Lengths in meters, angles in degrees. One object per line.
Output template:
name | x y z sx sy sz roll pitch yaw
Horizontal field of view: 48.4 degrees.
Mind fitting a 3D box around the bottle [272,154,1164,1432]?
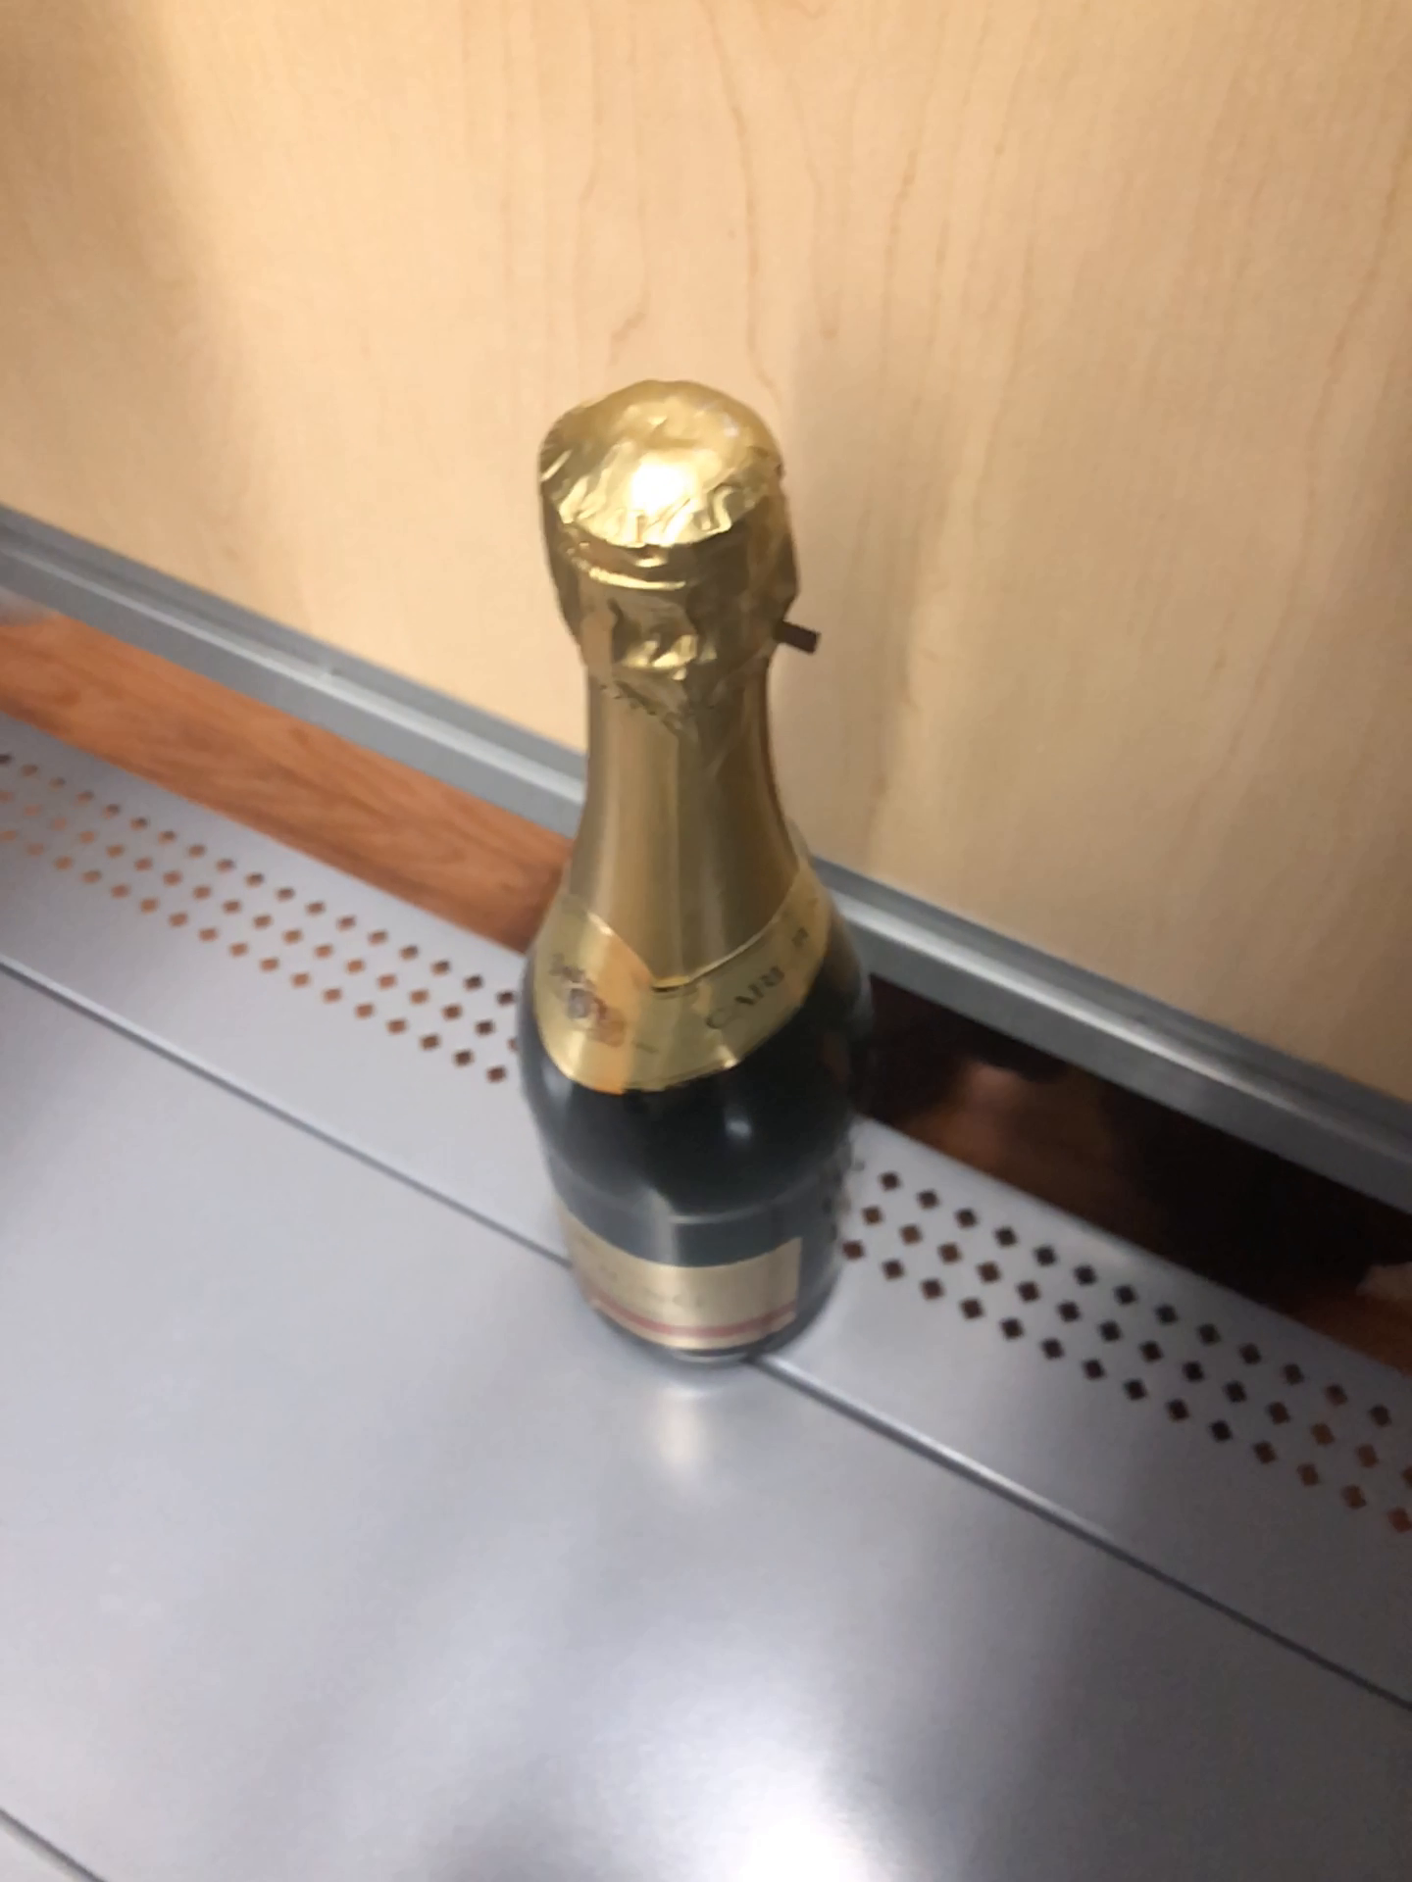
bottle | 0.001 0.005 0.347 0.090 0.298 0.090 0 58 1
